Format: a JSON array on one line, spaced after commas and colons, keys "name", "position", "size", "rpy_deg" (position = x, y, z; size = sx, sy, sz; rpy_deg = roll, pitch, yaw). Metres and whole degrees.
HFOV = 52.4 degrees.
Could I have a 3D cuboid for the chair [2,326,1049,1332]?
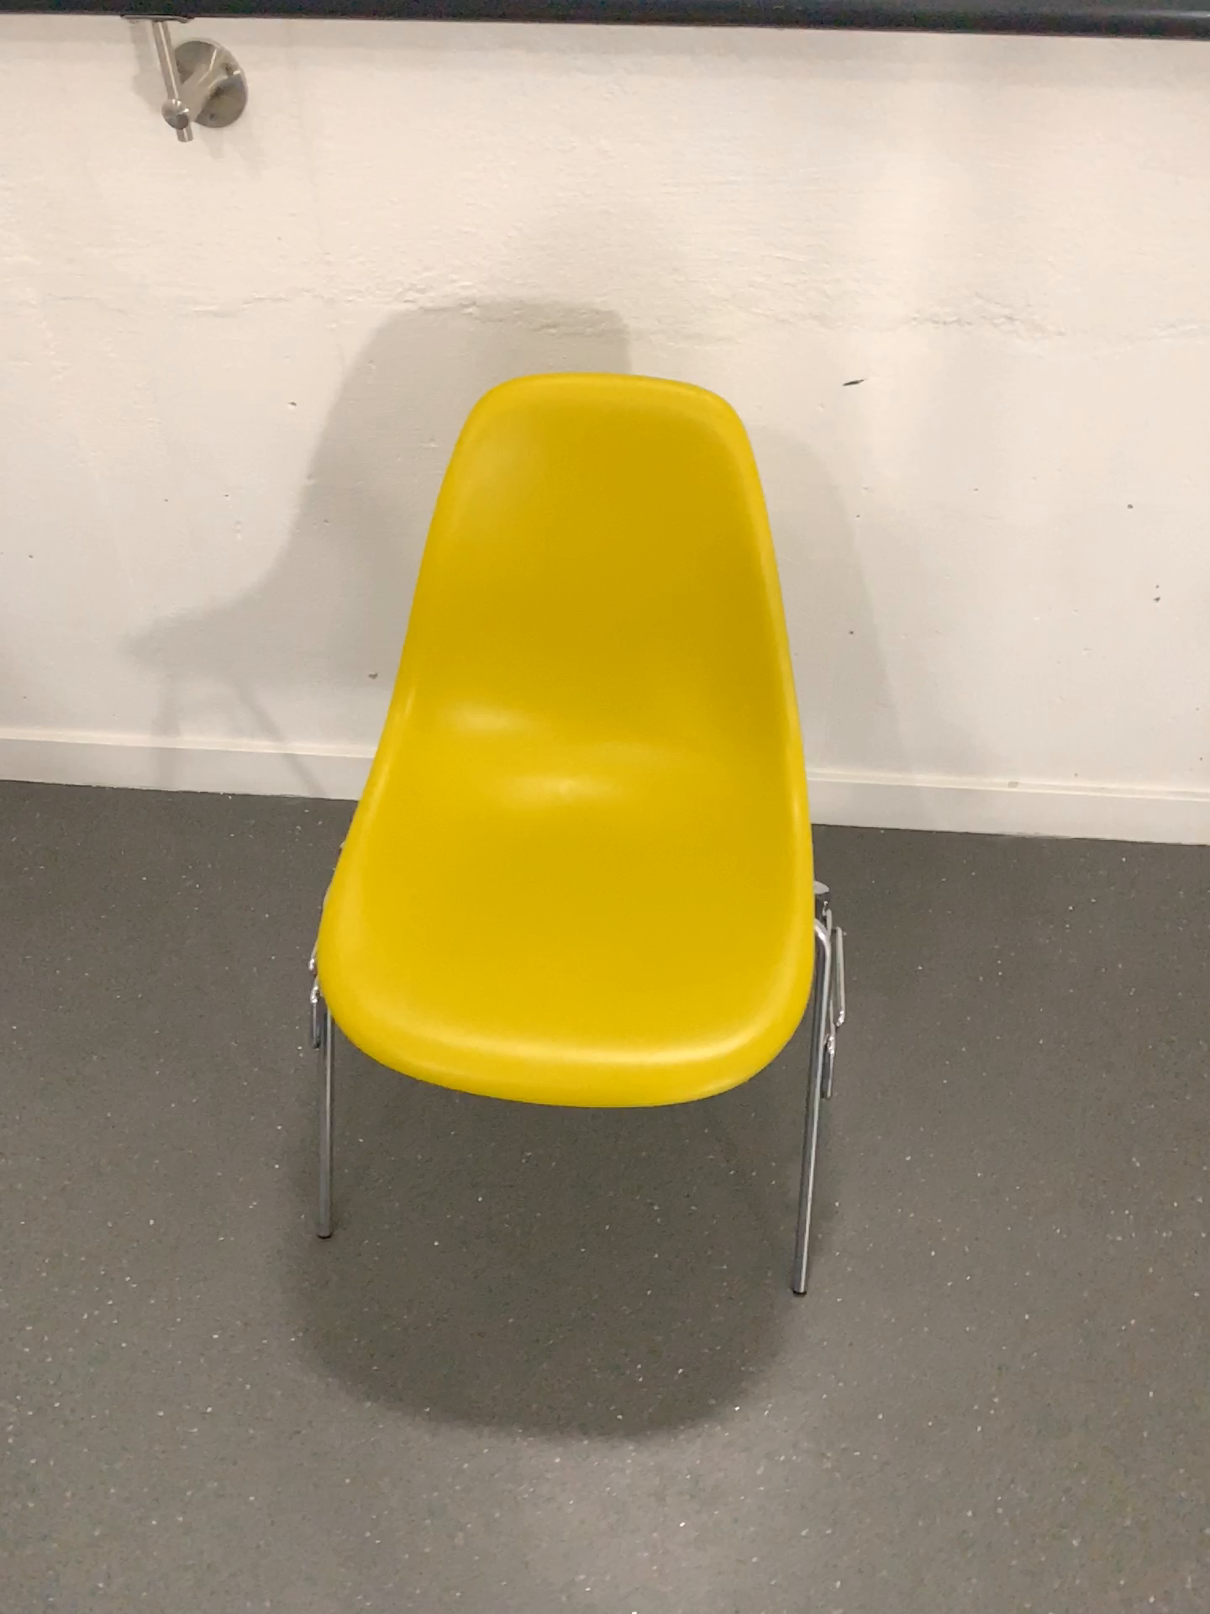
[{"name": "chair", "position": [-0.026, 0.039, 1.179], "size": [0.620, 0.733, 0.565], "rpy_deg": [5, 46, 4]}]
